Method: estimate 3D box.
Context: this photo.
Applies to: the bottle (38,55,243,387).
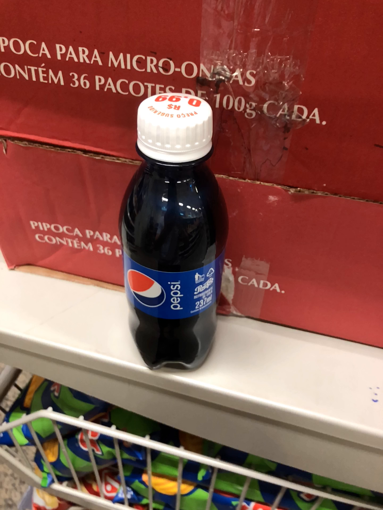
[{"bbox_3d":[-0.014,-0.008,0.211,0.060,0.149,0.060,-1,43,1],"label":"bottle"}]
